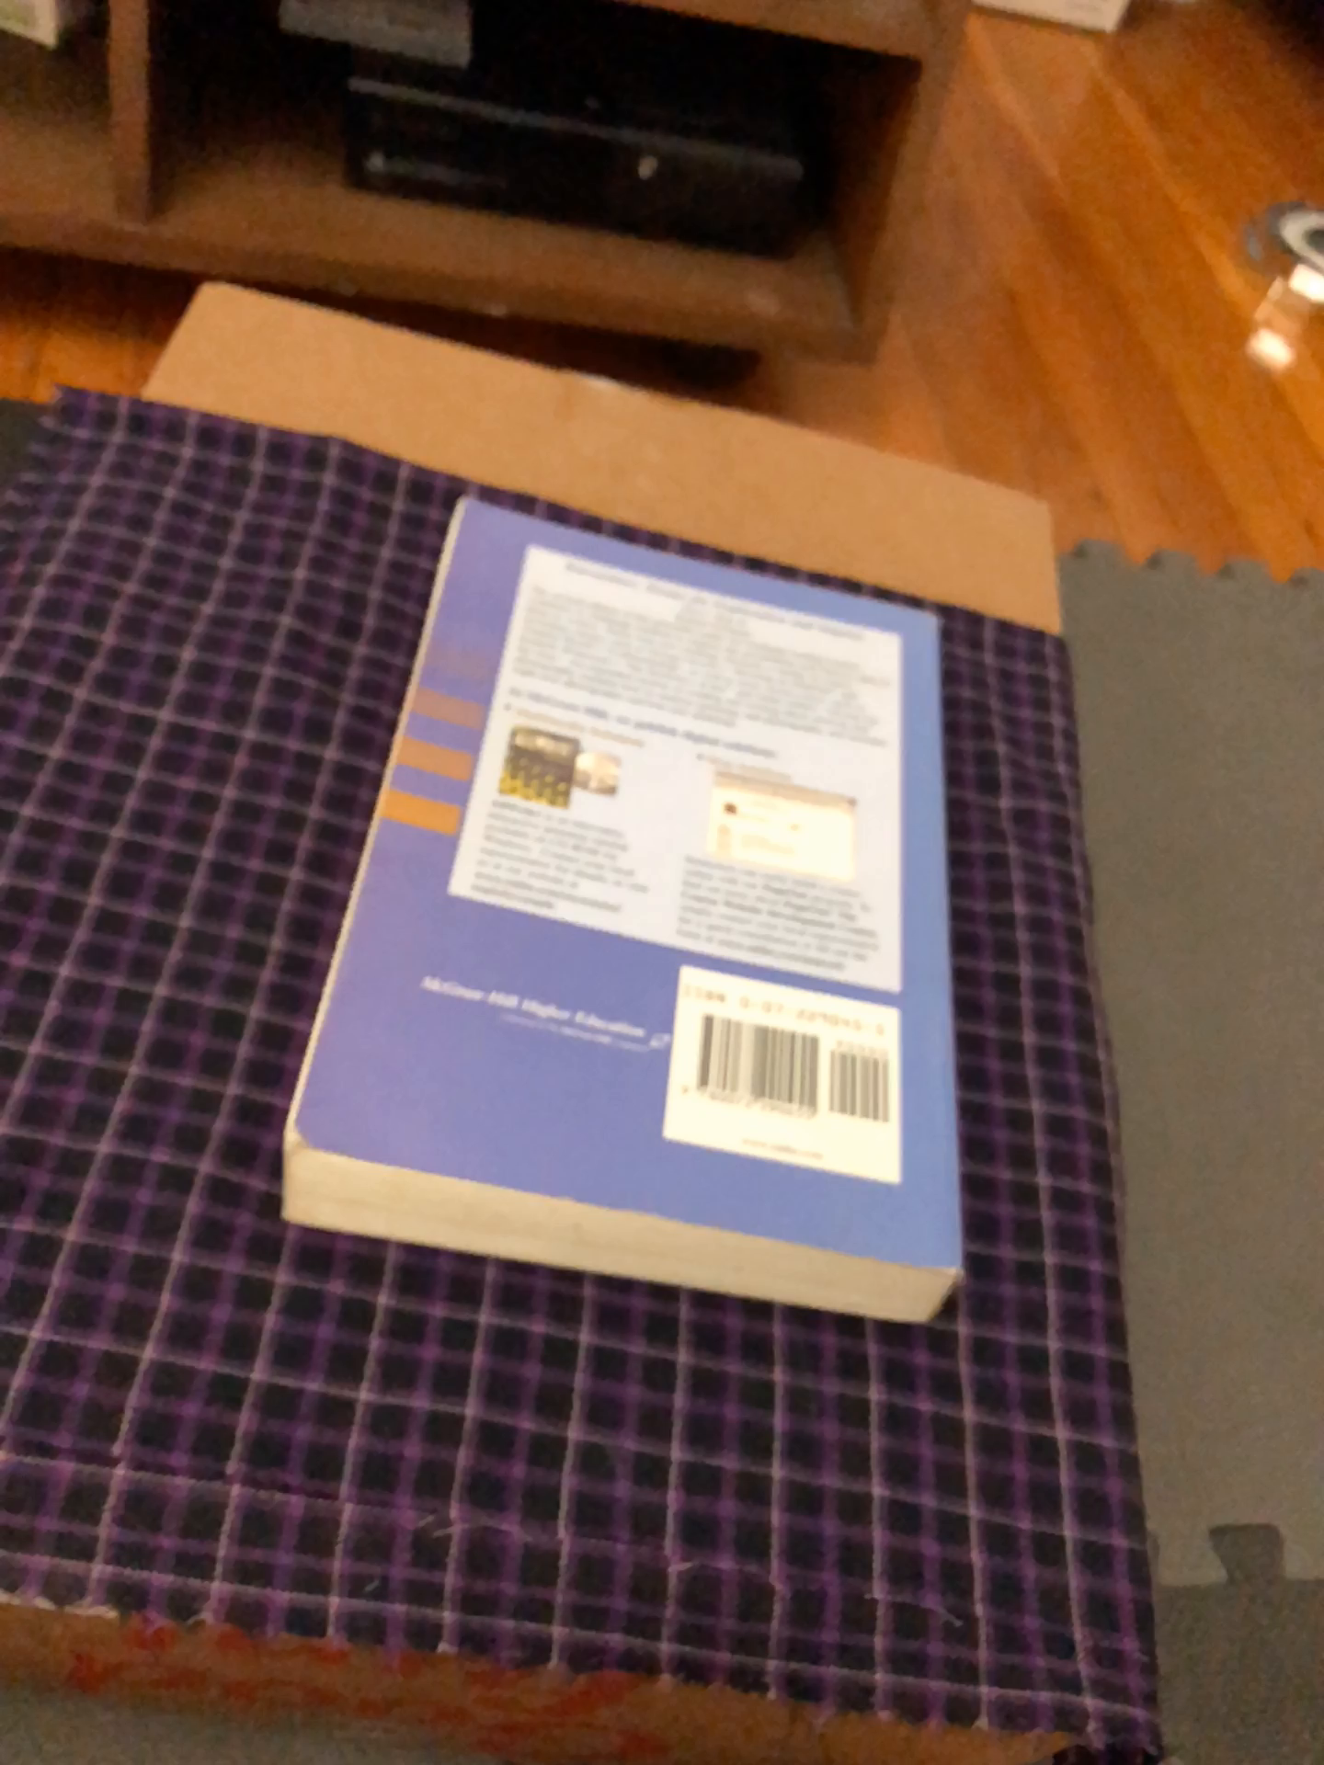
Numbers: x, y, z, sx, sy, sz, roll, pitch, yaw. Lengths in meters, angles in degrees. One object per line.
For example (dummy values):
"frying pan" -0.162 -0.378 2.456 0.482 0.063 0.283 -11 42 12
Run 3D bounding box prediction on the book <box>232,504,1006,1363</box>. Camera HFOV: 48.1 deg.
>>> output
"book" -0.003 0.001 0.428 0.180 0.040 0.241 11 51 -8
